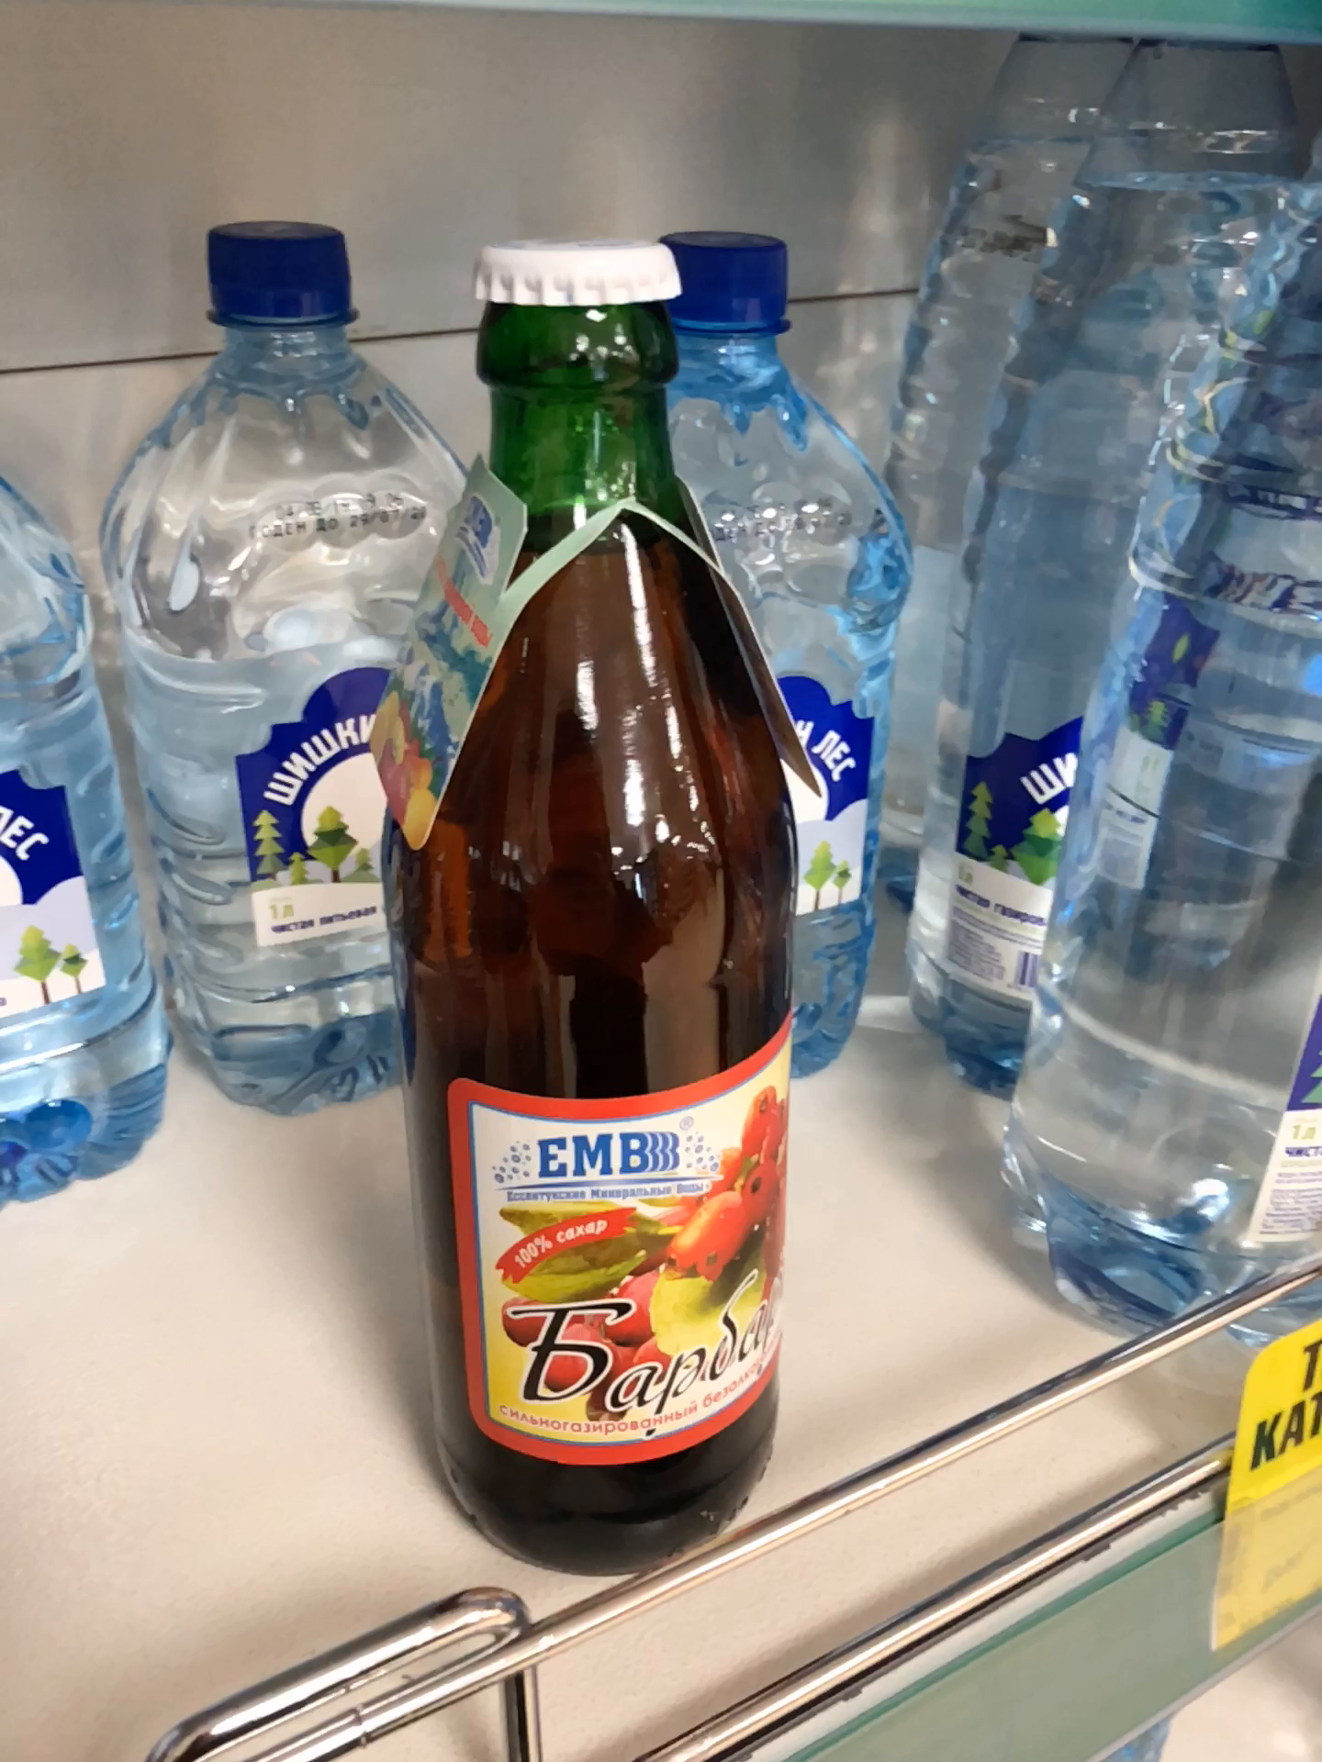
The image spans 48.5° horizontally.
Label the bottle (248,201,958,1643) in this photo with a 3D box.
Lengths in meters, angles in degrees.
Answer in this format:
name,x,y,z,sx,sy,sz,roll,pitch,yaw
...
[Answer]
name,x,y,z,sx,sy,sz,roll,pitch,yaw
bottle,-0.008,0.015,0.239,0.073,0.222,0.057,-14,31,-23
